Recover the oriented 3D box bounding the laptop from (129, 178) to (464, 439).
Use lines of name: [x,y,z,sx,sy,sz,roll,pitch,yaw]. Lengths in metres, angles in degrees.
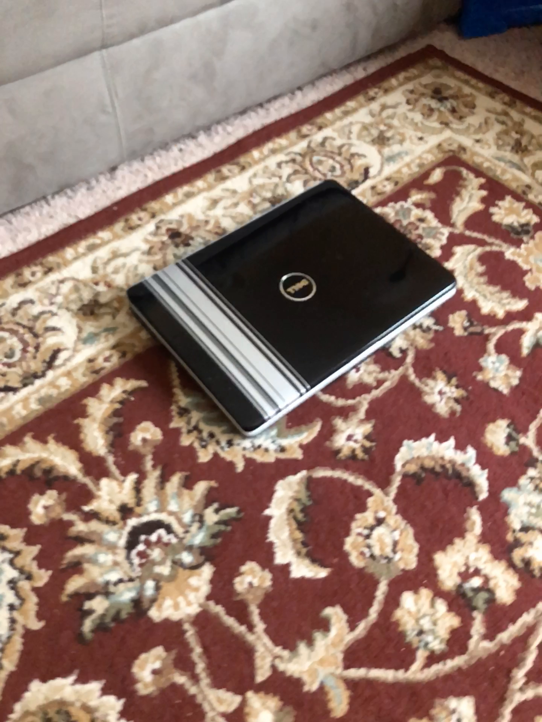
laptop: [0.038,-0.090,0.769,0.351,0.015,0.242,-34,66,-23]
